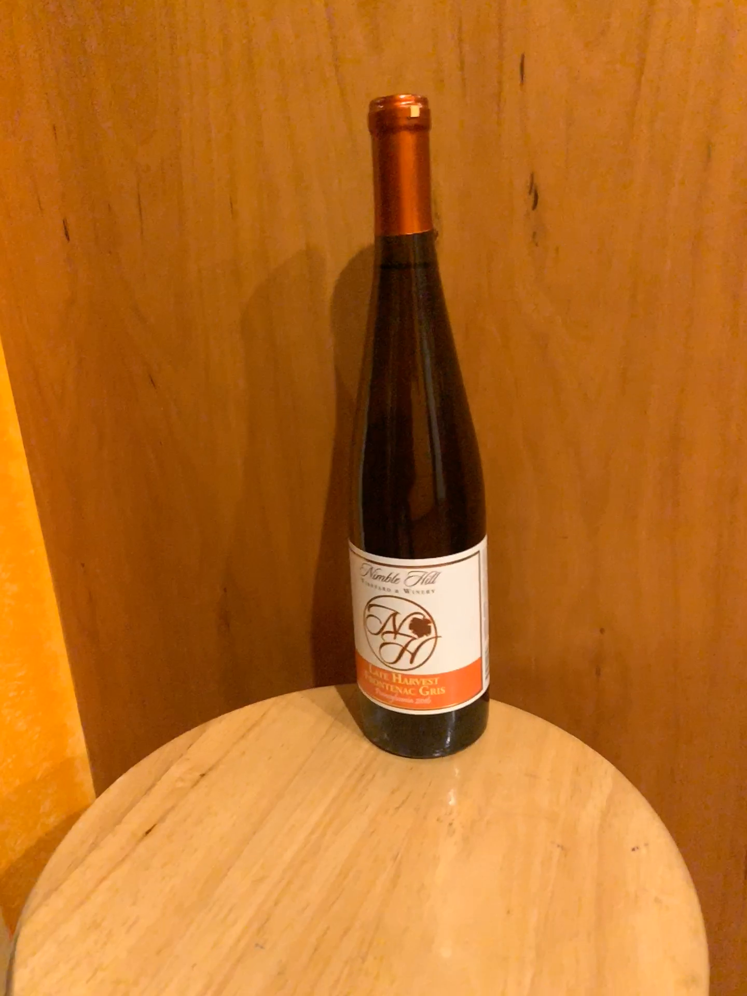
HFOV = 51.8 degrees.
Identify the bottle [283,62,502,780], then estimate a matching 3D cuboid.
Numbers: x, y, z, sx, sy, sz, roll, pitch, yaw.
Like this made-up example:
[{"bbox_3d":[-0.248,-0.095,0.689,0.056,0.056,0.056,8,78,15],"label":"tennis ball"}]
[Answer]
[{"bbox_3d":[0.019,-0.023,0.385,0.080,0.329,0.060,4,20,20],"label":"bottle"}]
